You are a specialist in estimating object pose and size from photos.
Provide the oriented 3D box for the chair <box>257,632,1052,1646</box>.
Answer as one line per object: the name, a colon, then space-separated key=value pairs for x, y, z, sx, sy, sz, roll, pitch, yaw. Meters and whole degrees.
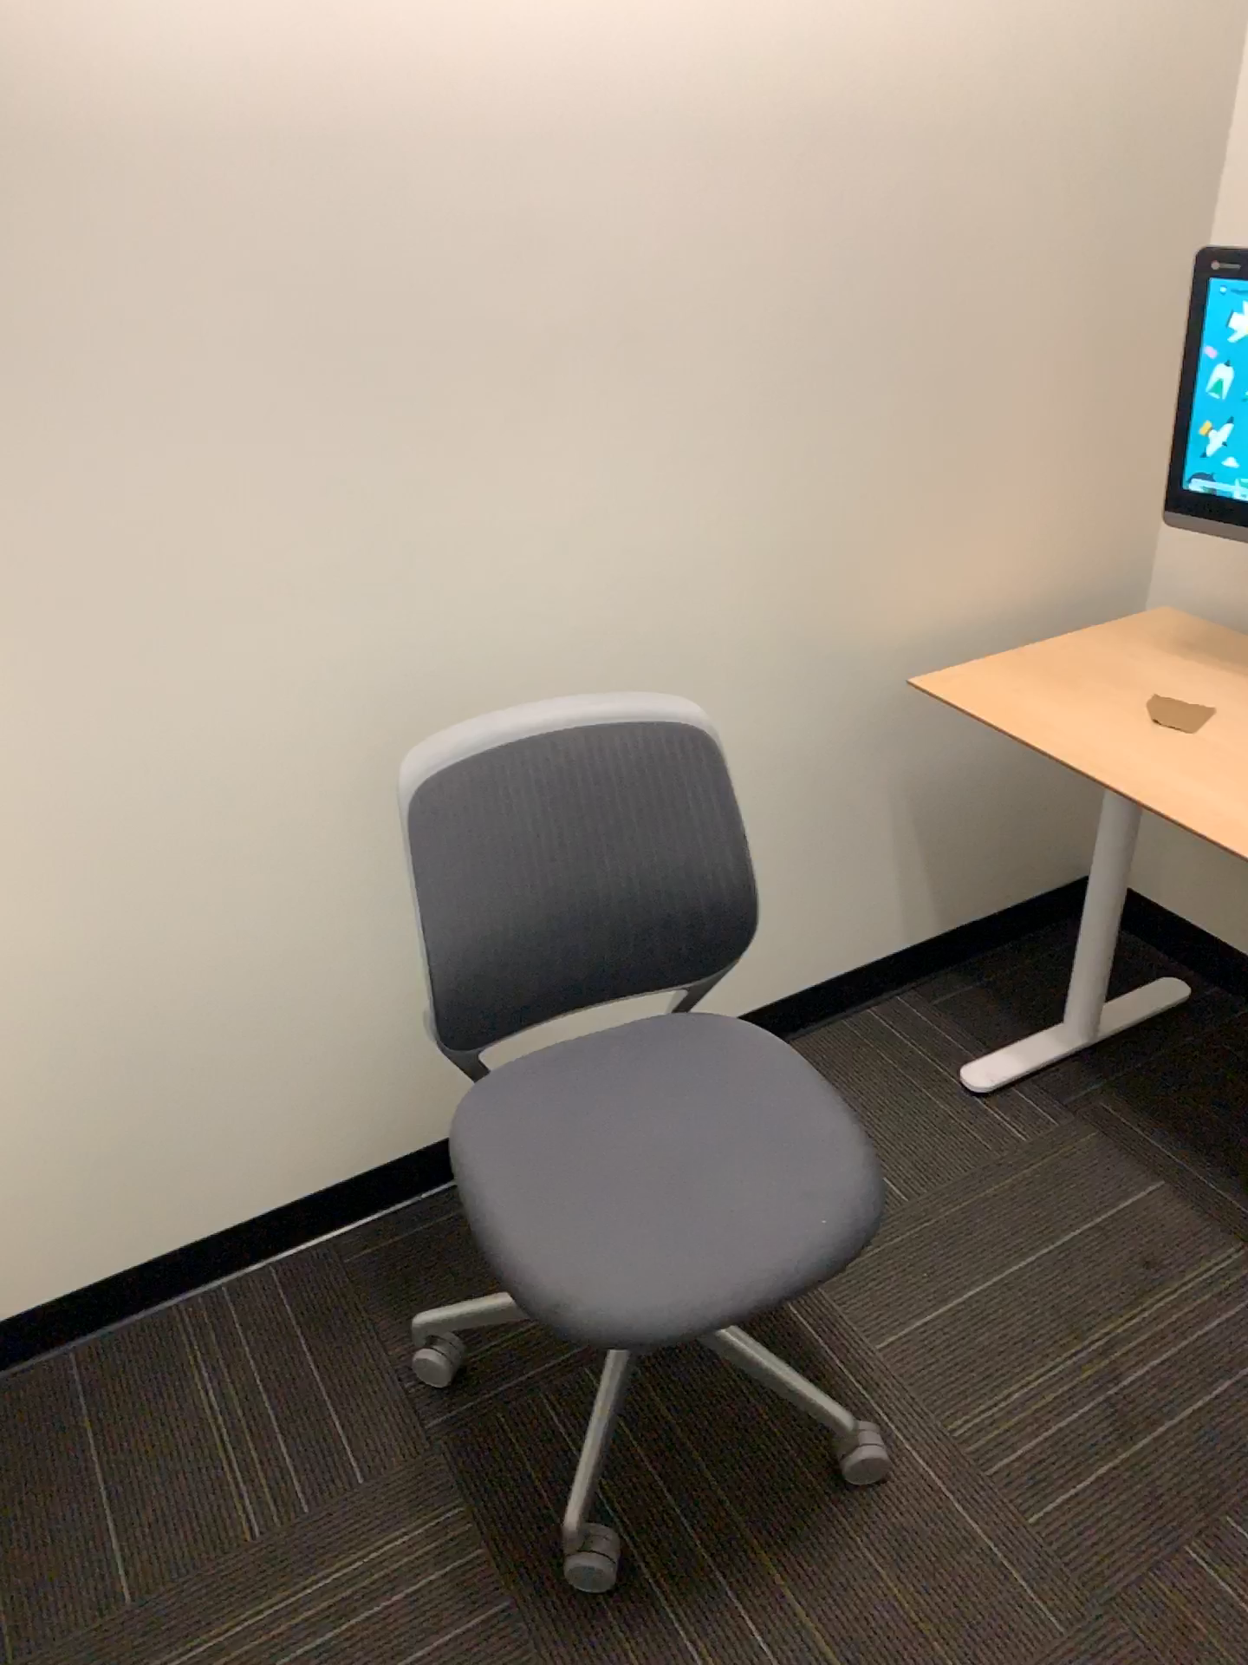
chair: x=-0.030 y=0.340 z=1.824 sx=0.720 sy=0.885 sz=0.905 roll=-12 pitch=32 yaw=-17
